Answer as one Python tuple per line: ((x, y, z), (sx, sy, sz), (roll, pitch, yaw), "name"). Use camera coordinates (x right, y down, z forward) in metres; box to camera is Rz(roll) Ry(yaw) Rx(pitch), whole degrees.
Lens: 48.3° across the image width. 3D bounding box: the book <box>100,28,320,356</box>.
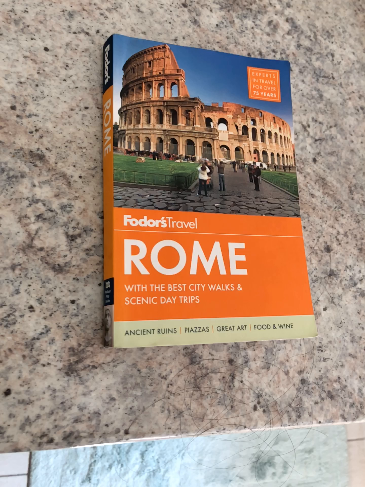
((0.016, -0.035, 0.276), (0.139, 0.024, 0.207), (2, 77, -17), "book")
